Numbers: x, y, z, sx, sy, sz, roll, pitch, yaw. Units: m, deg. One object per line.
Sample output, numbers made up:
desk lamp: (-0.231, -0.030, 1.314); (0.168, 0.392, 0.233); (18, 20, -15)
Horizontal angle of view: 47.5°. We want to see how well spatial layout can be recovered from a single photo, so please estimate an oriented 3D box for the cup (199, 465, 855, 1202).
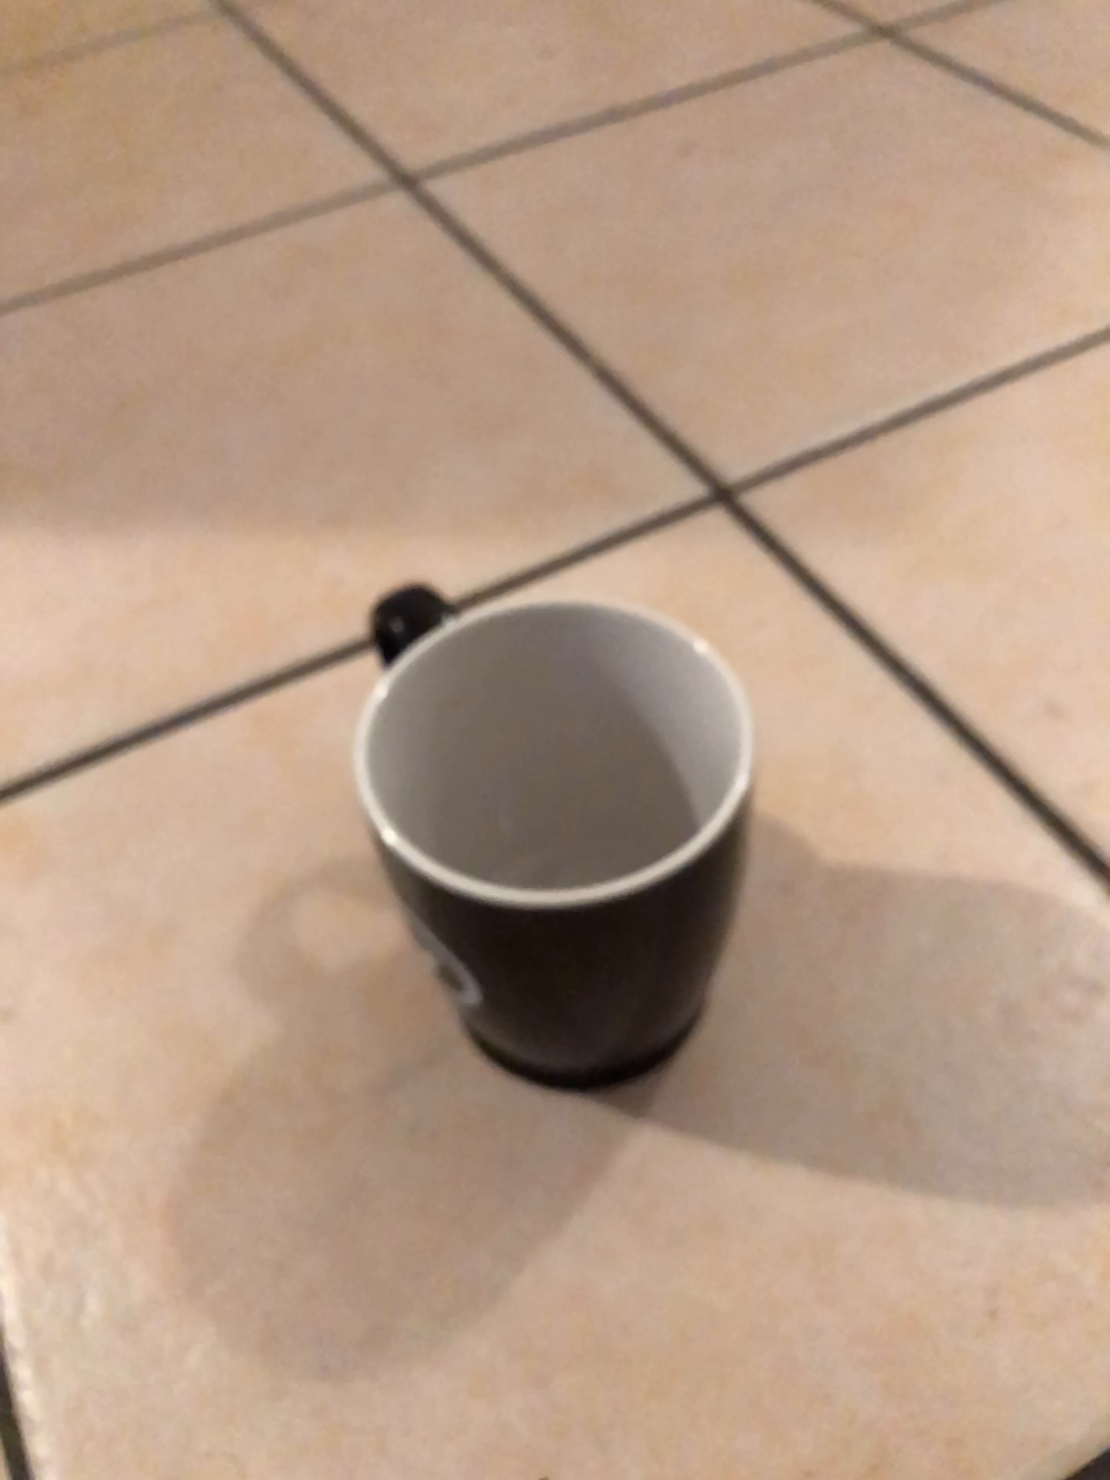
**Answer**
cup: (-0.009, 0.020, 0.341); (0.100, 0.100, 0.141); (-28, 52, -17)
